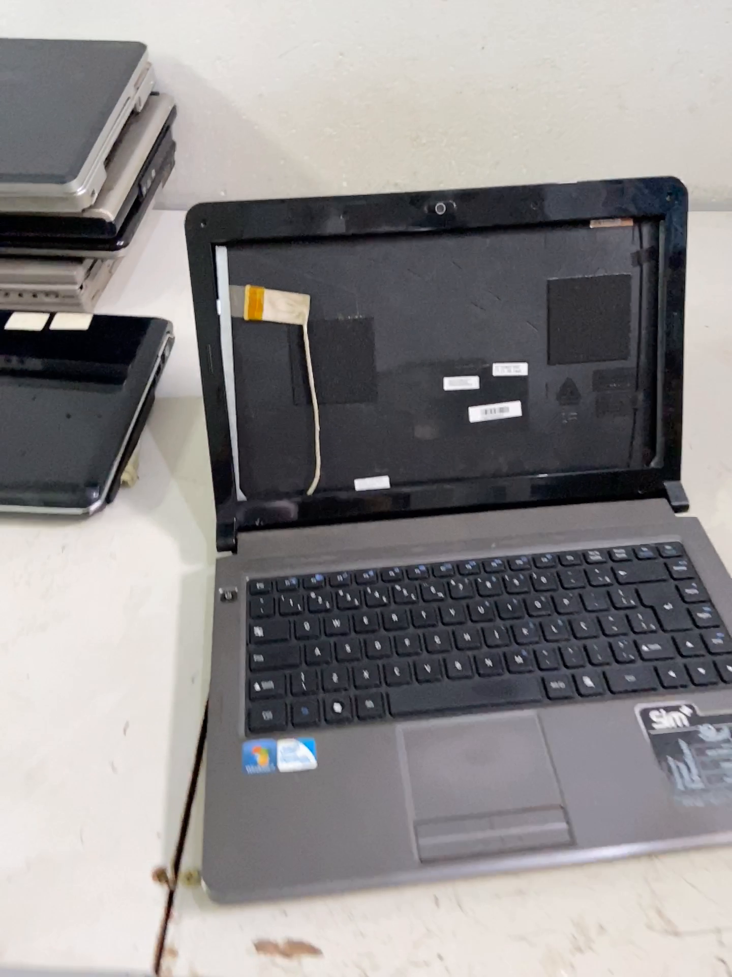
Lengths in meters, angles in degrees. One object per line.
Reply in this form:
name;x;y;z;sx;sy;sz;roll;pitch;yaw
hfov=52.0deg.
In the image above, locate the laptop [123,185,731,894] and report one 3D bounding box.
laptop;0.073;-0.006;0.447;0.342;0.174;0.367;-5;46;-4
